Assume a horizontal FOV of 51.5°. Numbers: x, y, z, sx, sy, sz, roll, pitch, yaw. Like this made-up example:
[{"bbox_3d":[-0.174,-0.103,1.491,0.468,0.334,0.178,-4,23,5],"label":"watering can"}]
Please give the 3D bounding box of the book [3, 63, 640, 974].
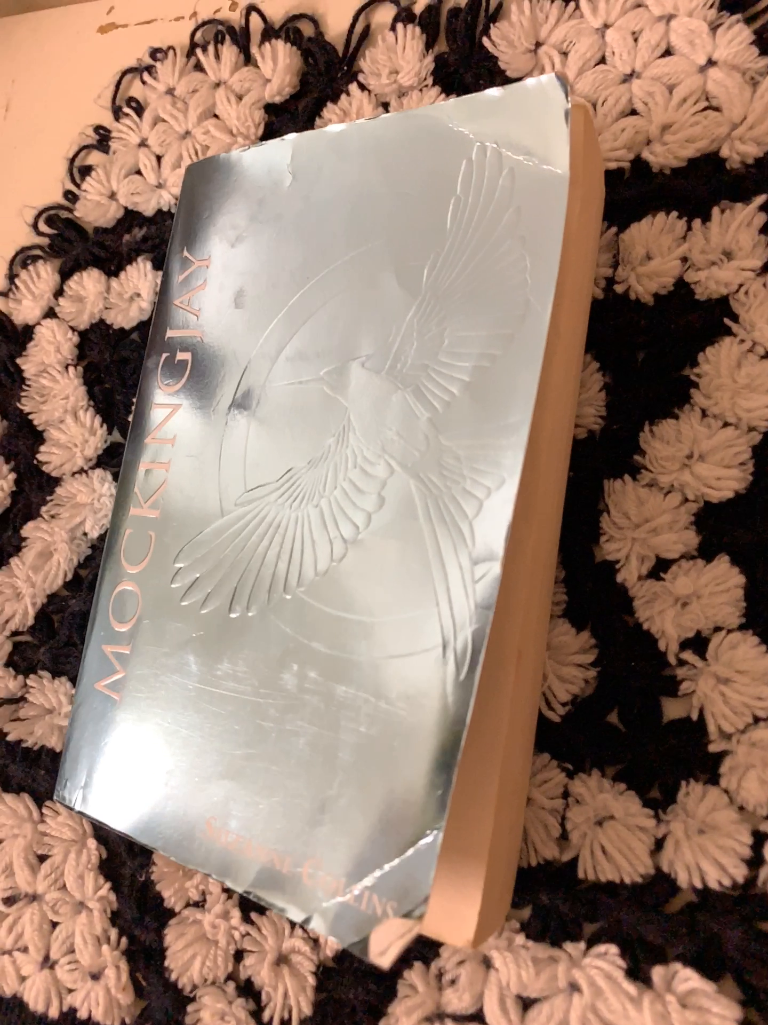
[{"bbox_3d":[-0.014,-0.009,0.208,0.136,0.036,0.193,4,80,23],"label":"book"}]
